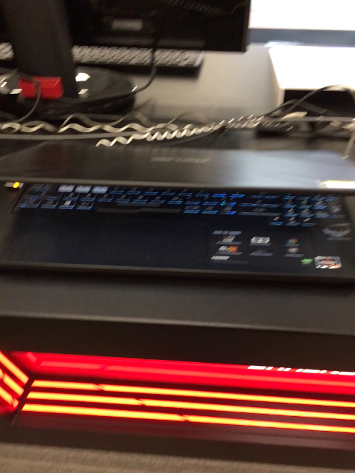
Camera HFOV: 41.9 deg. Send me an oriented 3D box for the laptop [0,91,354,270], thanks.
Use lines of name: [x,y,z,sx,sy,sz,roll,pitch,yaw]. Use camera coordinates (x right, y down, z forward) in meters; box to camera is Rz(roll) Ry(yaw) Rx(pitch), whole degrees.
laptop: [-0.003,-0.075,0.517,0.399,0.089,0.236,1,41,3]
